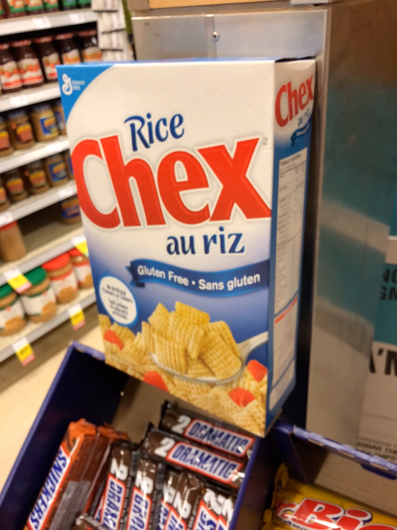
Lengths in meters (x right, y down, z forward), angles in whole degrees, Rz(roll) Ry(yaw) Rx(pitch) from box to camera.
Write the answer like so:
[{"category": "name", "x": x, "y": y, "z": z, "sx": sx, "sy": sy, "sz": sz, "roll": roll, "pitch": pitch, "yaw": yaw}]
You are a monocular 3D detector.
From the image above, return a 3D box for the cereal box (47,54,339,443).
[{"category": "cereal box", "x": -0.011, "y": -0.021, "z": 0.385, "sx": 0.211, "sy": 0.288, "sz": 0.070, "roll": 16, "pitch": 31, "yaw": 31}]
